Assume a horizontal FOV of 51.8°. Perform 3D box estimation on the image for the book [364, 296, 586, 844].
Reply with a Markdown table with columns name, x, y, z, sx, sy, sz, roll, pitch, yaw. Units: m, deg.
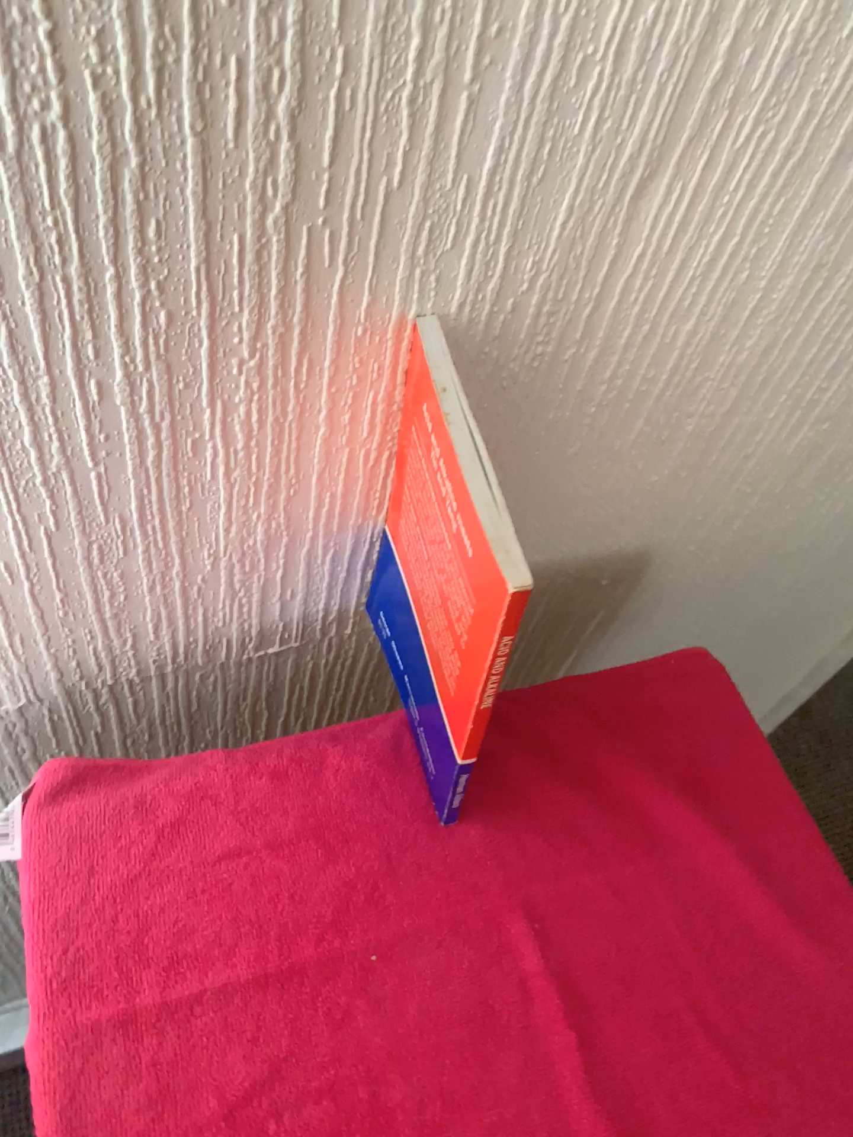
| name | x | y | z | sx | sy | sz | roll | pitch | yaw |
| --- | --- | --- | --- | --- | --- | --- | --- | --- | --- |
| book | 0.006 | 0.013 | 0.391 | 0.020 | 0.208 | 0.151 | -11 | 56 | -15 |
